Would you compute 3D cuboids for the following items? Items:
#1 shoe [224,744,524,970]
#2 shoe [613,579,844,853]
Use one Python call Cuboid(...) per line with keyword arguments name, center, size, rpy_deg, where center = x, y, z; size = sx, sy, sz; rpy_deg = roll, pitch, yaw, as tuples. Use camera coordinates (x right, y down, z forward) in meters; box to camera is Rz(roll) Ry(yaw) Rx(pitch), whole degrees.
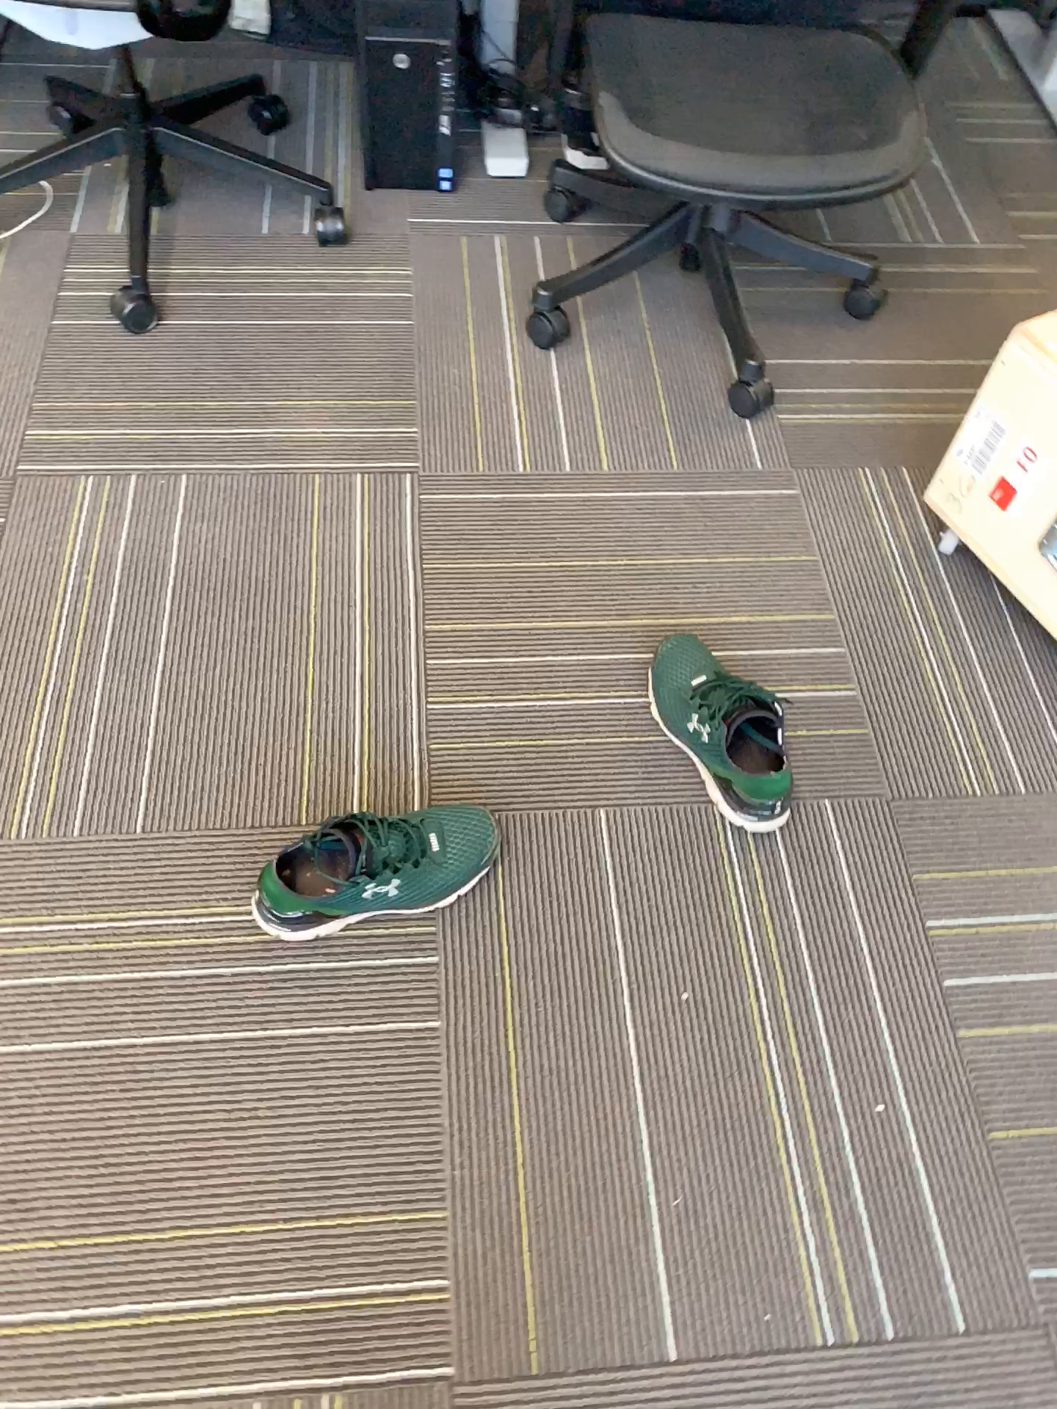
Cuboid(name="shoe", center=(-0.177, 0.177, 1.265), size=(0.310, 0.130, 0.130), rpy_deg=(-17, 60, -14))
Cuboid(name="shoe", center=(0.247, 0.010, 1.399), size=(0.130, 0.130, 0.311), rpy_deg=(-20, 61, -16))
